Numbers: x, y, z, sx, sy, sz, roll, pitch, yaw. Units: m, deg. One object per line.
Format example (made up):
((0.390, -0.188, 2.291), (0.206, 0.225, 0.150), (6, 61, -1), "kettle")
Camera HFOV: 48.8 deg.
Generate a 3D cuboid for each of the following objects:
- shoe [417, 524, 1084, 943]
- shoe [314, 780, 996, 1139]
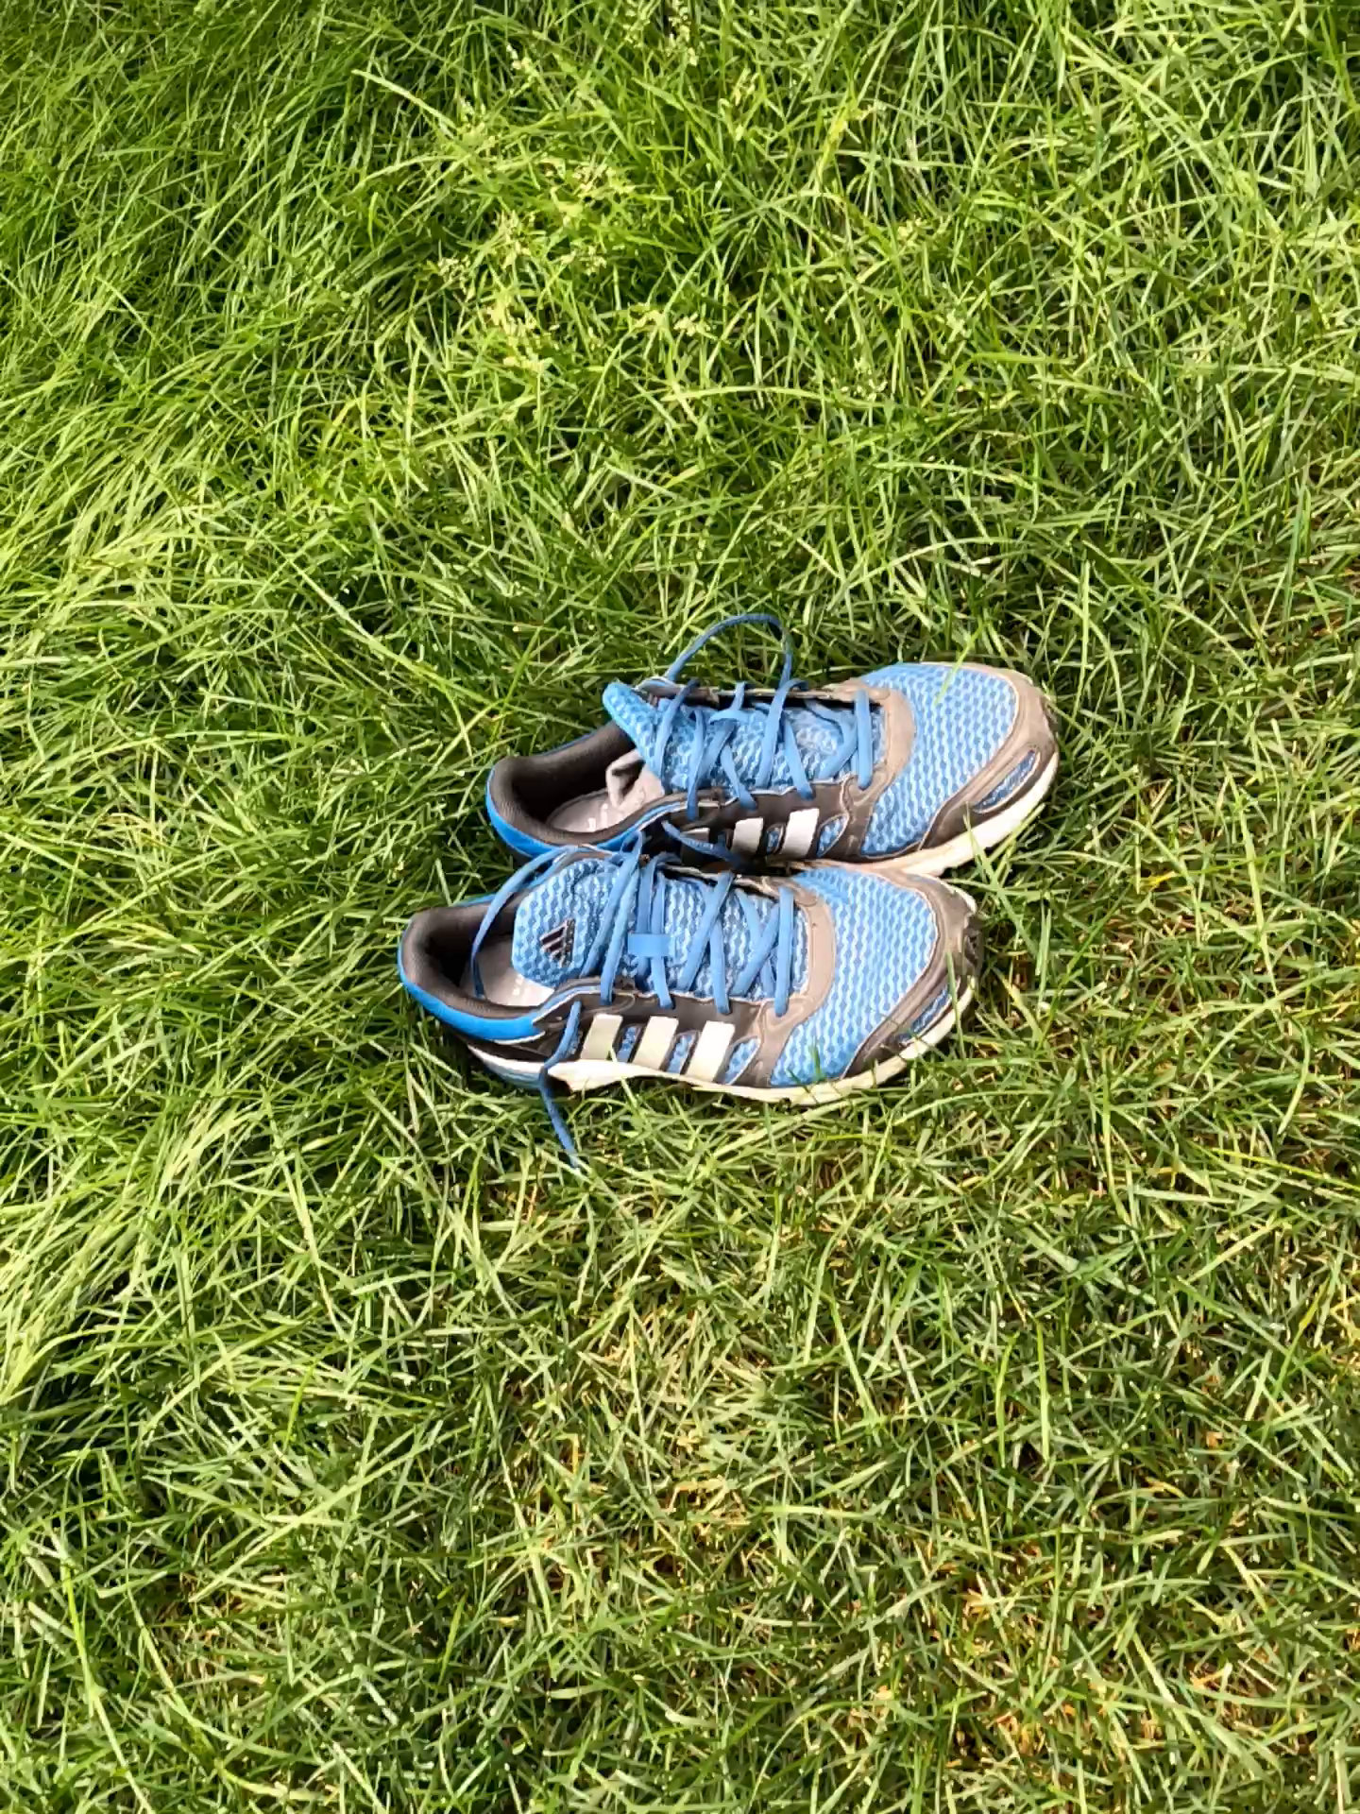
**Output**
((0.036, -0.071, 0.697), (0.280, 0.120, 0.120), (-6, 69, 16), "shoe")
((-0.004, 0.029, 0.665), (0.270, 0.120, 0.120), (-1, 71, 17), "shoe")
